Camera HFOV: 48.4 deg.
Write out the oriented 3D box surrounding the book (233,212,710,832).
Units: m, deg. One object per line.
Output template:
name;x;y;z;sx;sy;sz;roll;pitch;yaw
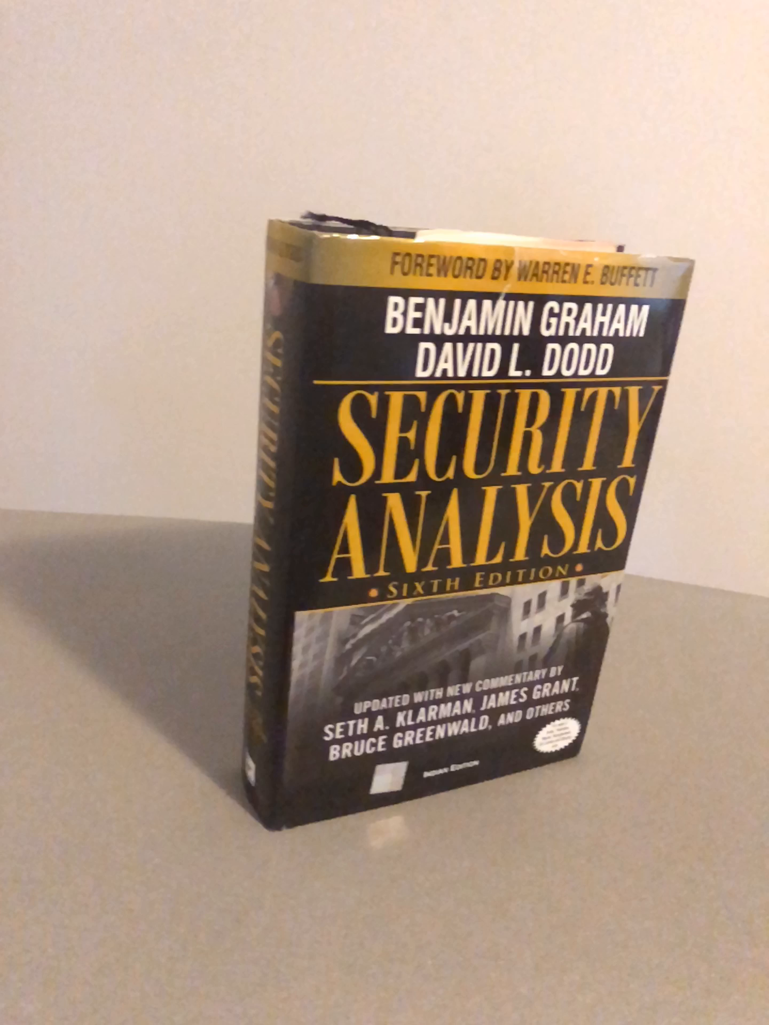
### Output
book;0.028;0.006;0.352;0.164;0.231;0.047;-5;24;-25
